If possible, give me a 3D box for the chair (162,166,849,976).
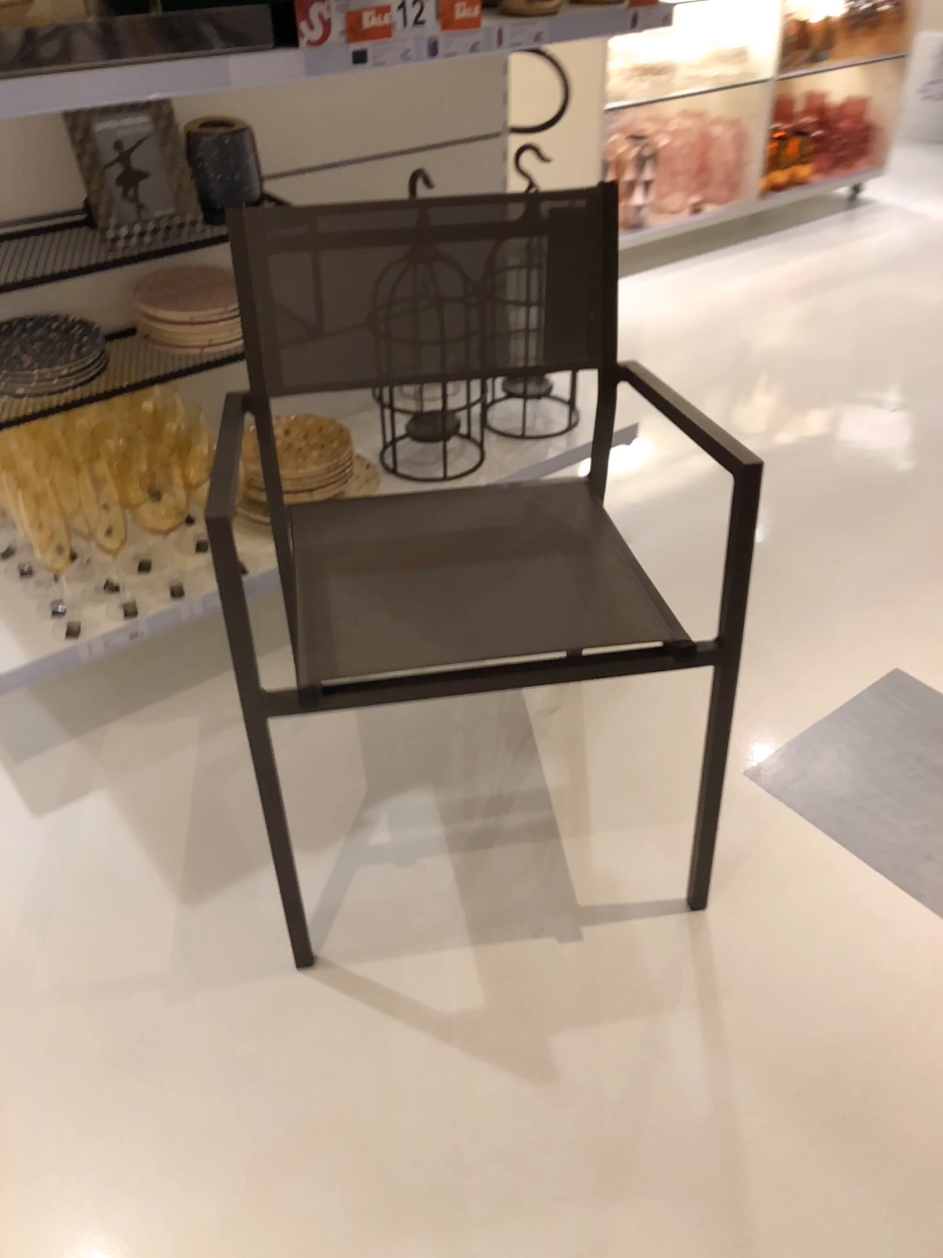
[{"bbox_3d":[-0.003,-0.089,1.305,0.570,0.764,0.585,-6,37,-7],"label":"chair"}]
